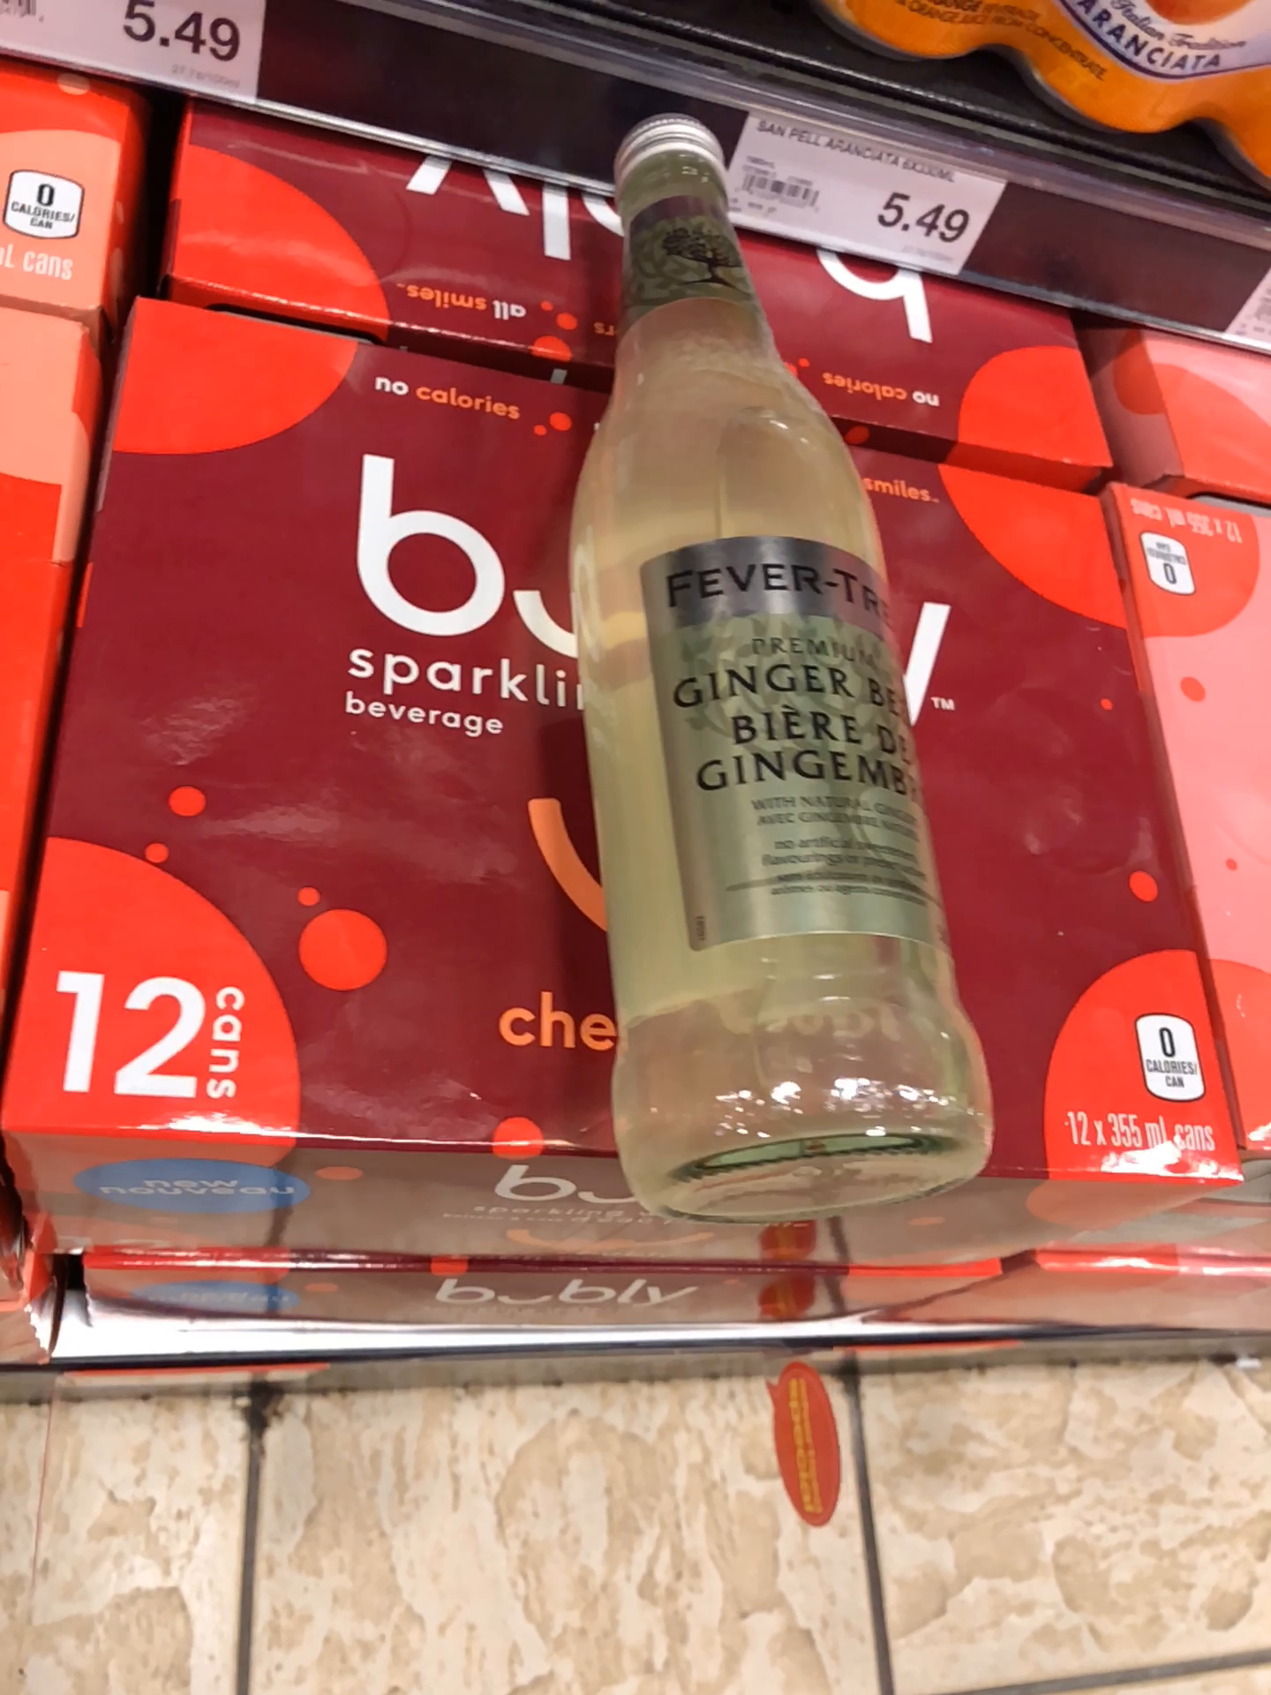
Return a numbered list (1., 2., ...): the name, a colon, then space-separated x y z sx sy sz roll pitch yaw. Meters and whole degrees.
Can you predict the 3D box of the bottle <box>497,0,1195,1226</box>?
1. bottle: 0.025 -0.067 0.295 0.080 0.080 0.270 4 64 -19
